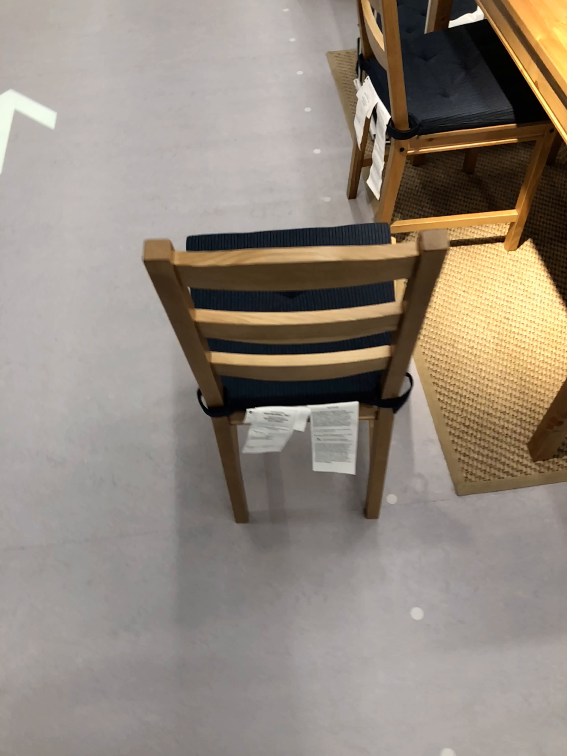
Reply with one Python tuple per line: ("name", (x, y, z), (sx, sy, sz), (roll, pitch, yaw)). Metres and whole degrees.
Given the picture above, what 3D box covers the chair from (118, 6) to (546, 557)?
("chair", (0.050, -0.085, 1.140), (0.440, 0.865, 0.523), (-4, 56, 0))
